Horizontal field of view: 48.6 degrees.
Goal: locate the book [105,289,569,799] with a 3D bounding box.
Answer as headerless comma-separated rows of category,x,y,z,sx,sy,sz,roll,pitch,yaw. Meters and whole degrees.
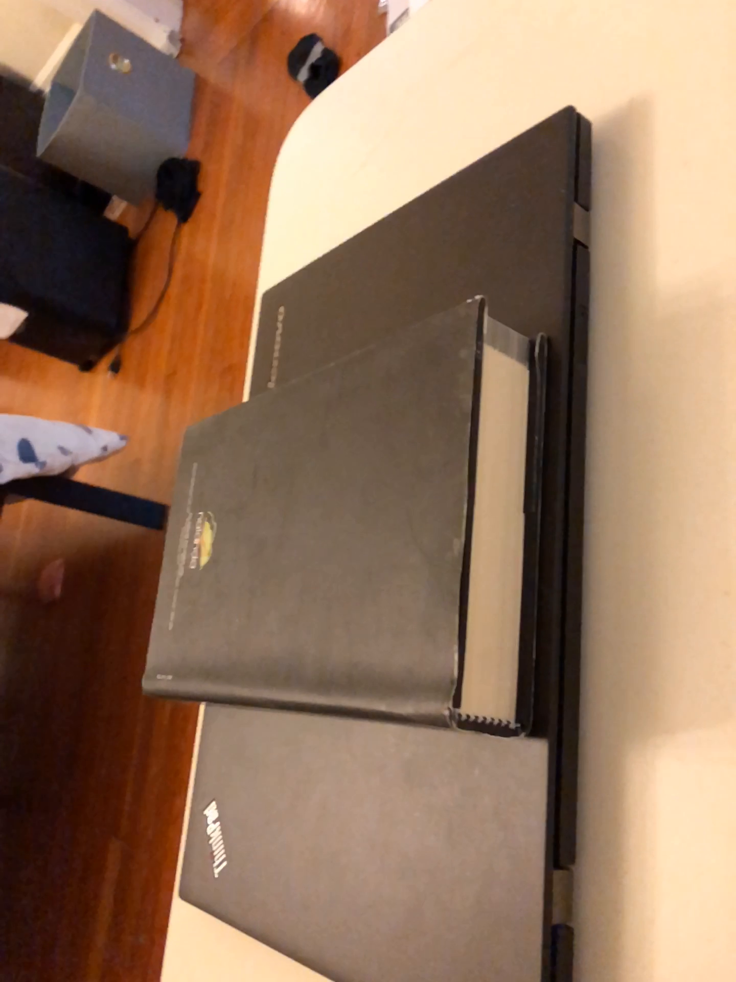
book,-0.028,0.029,0.334,0.231,0.040,0.150,-12,67,49
